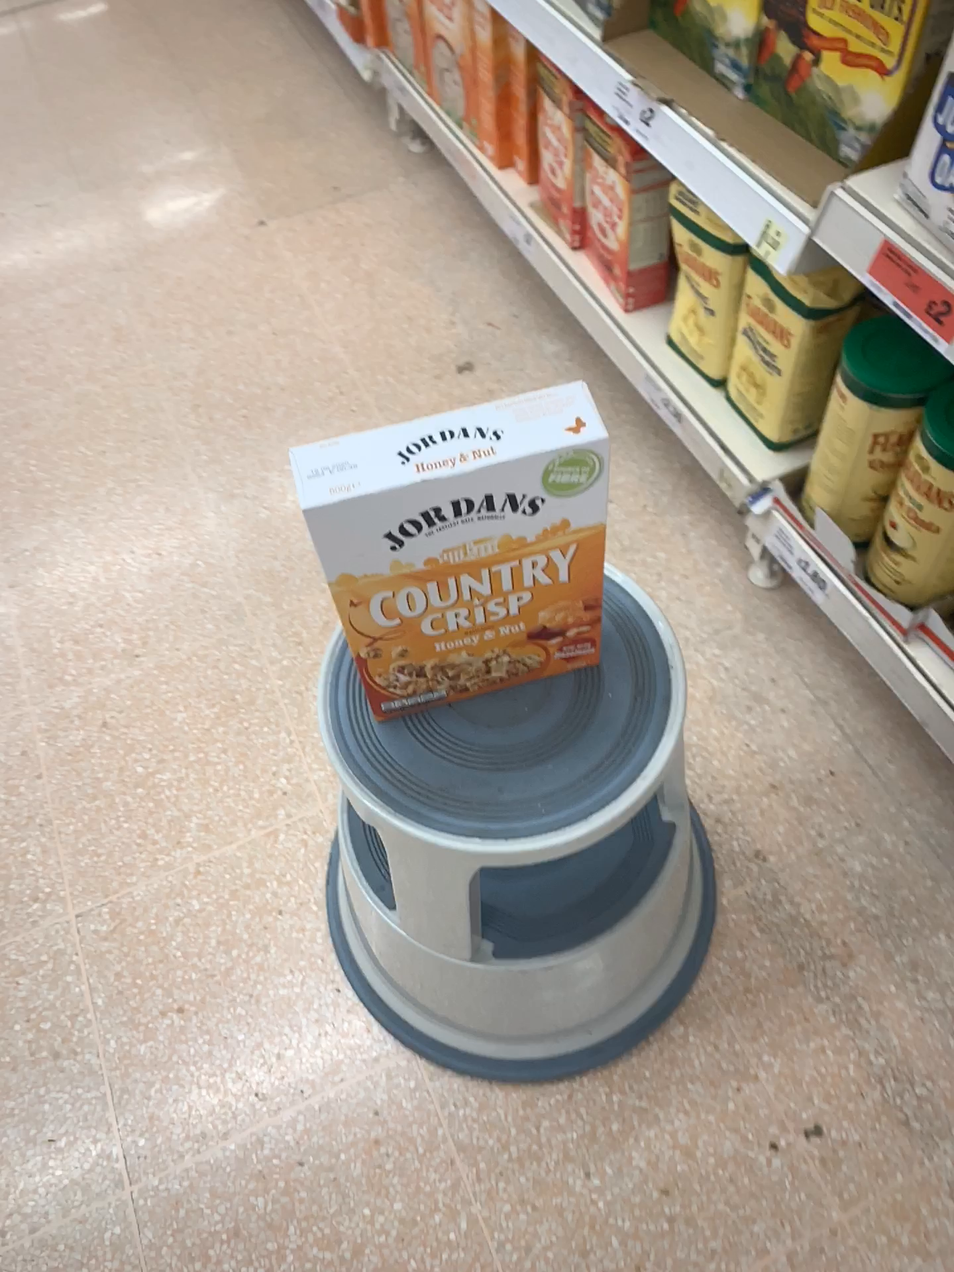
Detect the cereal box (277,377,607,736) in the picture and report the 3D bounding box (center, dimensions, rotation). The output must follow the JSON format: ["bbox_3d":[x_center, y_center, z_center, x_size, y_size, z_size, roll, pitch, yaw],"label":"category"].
[{"bbox_3d":[-0.012,-0.038,0.658,0.180,0.258,0.050,-14,56,-5],"label":"cereal box"}]
